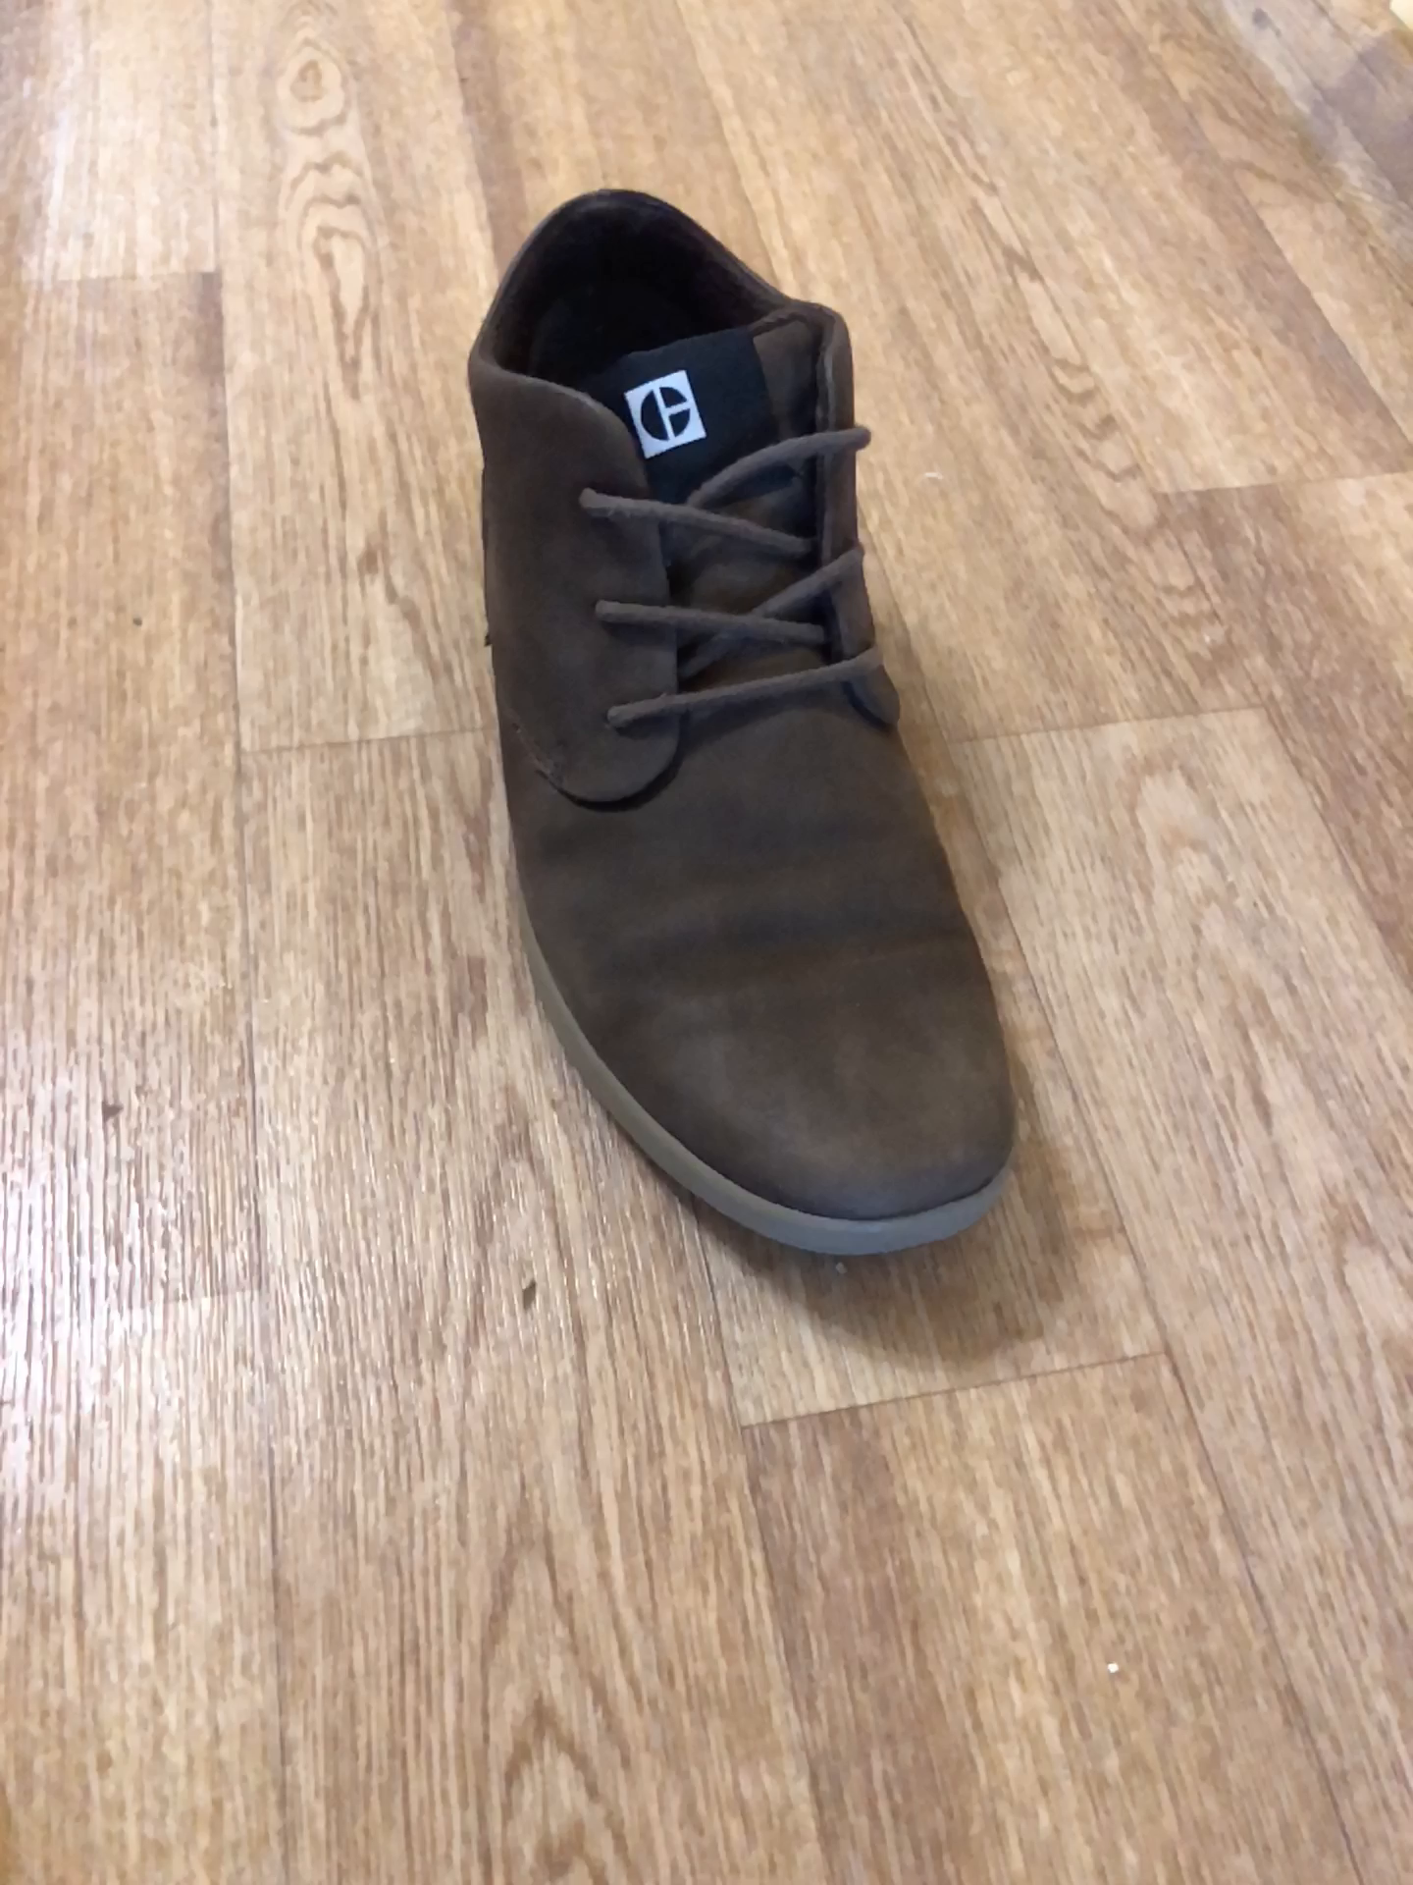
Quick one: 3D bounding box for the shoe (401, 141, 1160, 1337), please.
[{"bbox_3d":[-0.003,-0.063,0.365,0.100,0.100,0.271,-8,56,-9],"label":"shoe"}]
